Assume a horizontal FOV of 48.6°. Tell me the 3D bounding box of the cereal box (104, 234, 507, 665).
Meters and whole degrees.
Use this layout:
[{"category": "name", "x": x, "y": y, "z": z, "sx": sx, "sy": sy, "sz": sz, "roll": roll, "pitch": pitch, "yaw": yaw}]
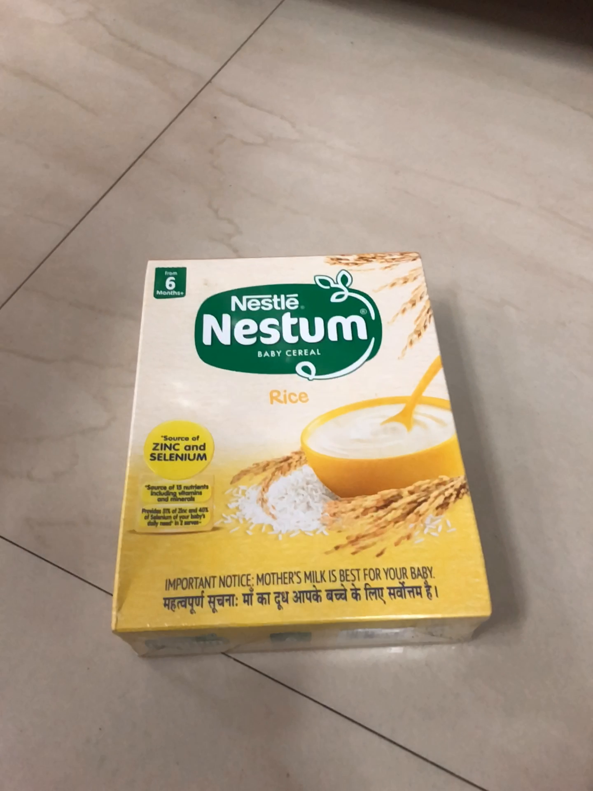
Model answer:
[{"category": "cereal box", "x": 0.001, "y": 0.017, "z": 0.323, "sx": 0.150, "sy": 0.060, "sz": 0.201, "roll": -2, "pitch": 58, "yaw": 0}]
